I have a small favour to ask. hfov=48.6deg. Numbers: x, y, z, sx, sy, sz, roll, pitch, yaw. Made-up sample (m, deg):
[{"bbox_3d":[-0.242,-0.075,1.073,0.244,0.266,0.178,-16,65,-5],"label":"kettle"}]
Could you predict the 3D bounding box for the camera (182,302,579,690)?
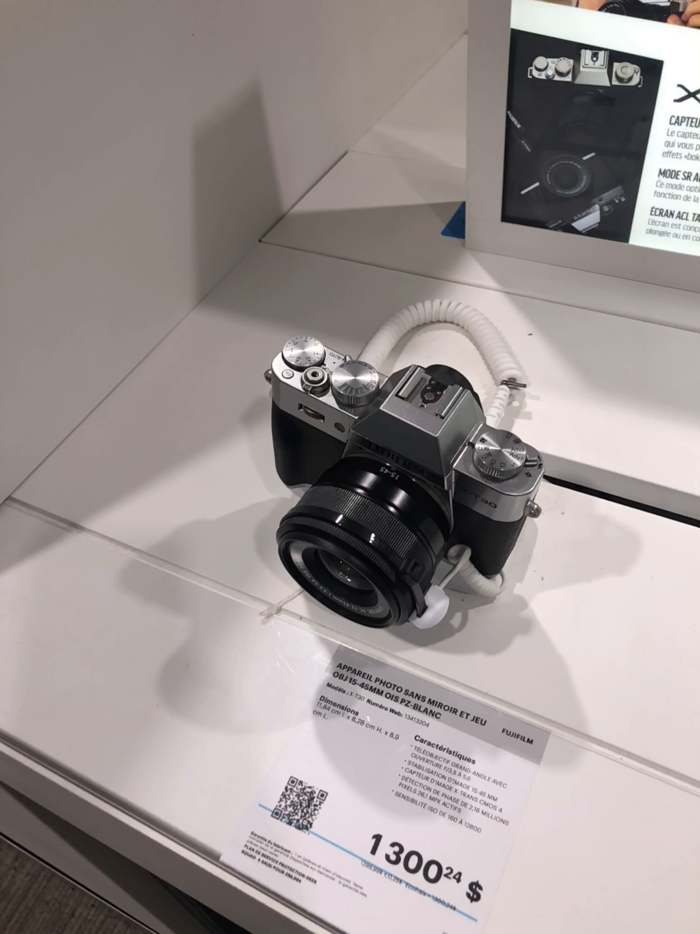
[{"bbox_3d":[0.013,0.010,0.343,0.130,0.089,0.090,27,56,21],"label":"camera"}]
